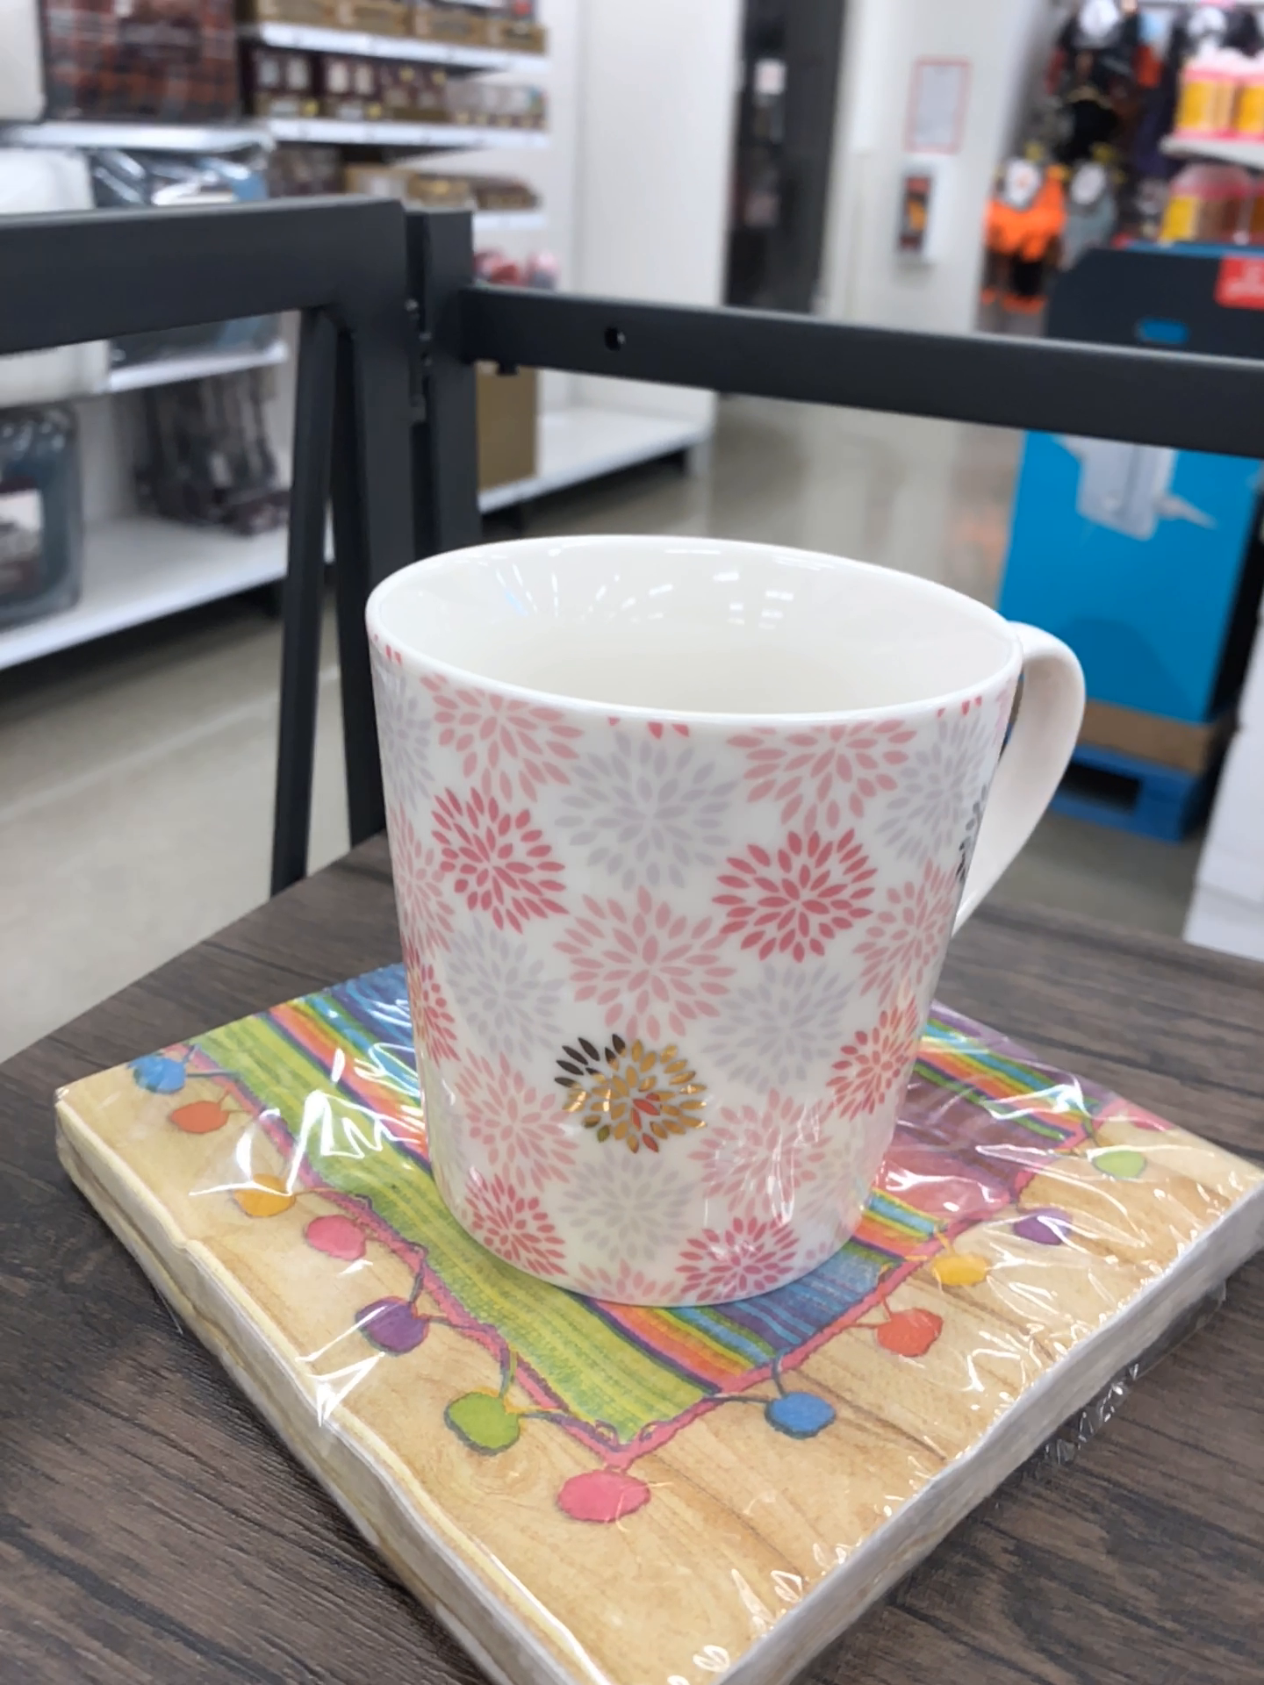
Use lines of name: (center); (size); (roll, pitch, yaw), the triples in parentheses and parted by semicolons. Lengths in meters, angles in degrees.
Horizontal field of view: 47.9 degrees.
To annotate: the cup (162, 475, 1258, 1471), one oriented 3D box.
cup: (0.012, 0.004, 0.244); (0.140, 0.100, 0.100); (-17, 32, -34)
